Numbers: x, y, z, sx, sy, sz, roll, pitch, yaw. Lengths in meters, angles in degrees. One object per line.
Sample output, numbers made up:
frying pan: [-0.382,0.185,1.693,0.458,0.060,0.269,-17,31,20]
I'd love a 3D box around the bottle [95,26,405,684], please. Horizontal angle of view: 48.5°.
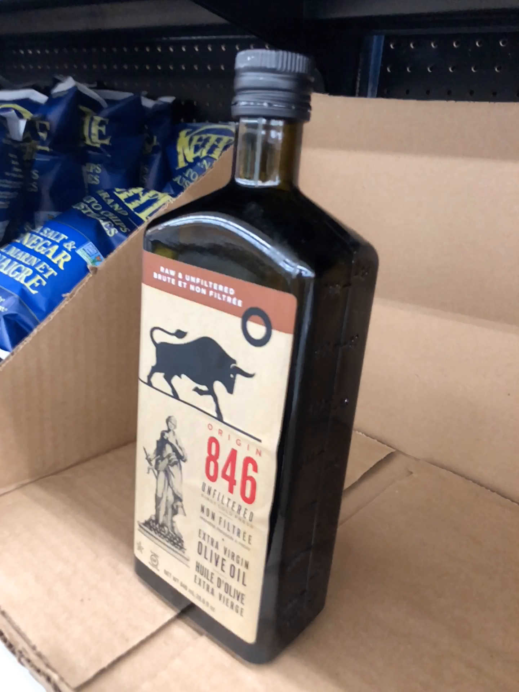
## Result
bottle: [-0.014,0.006,0.255,0.100,0.248,0.060,19,25,36]
